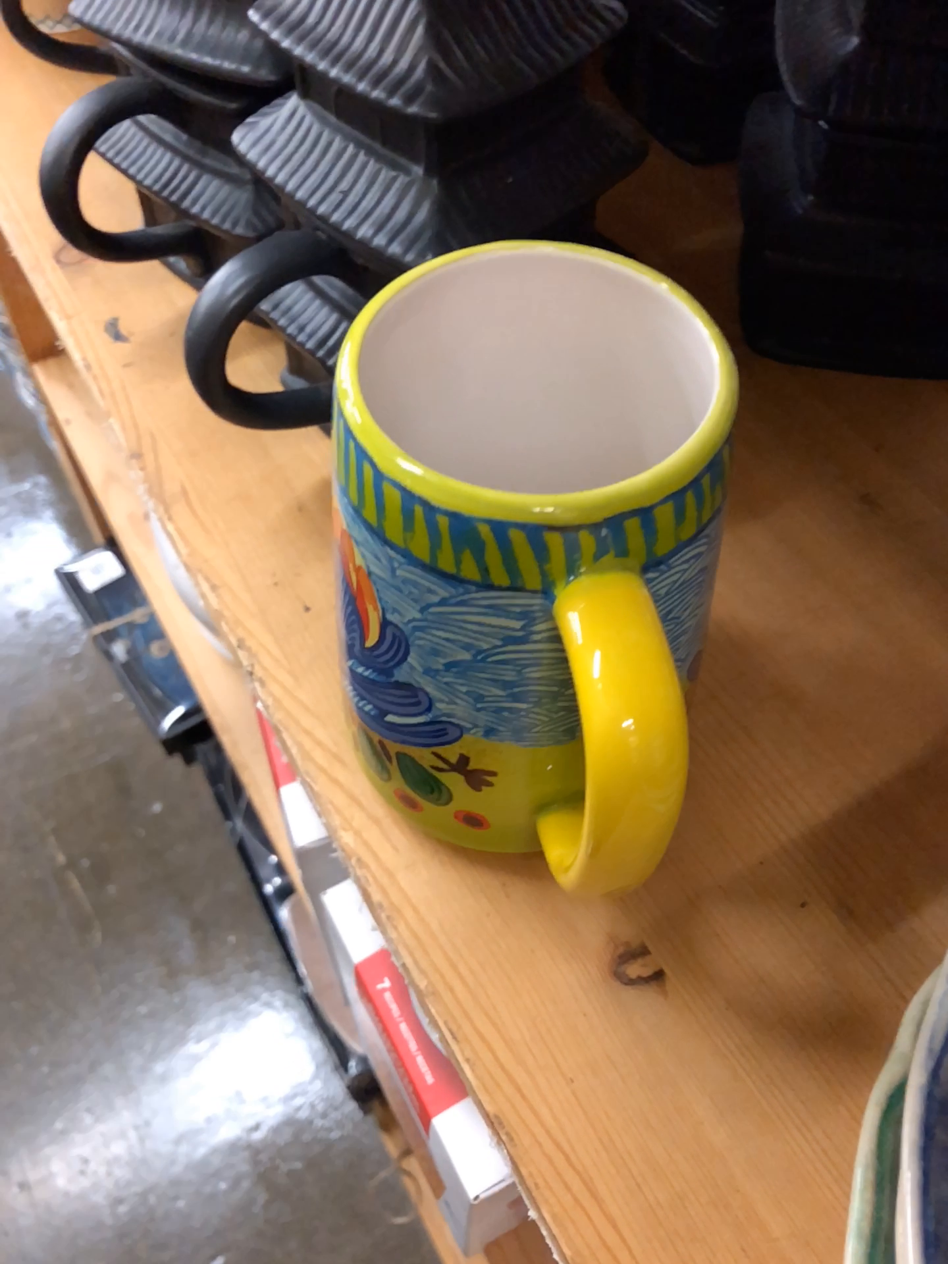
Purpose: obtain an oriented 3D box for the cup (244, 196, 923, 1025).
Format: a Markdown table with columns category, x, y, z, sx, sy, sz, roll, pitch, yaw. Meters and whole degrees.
| category | x | y | z | sx | sy | sz | roll | pitch | yaw |
| --- | --- | --- | --- | --- | --- | --- | --- | --- | --- |
| cup | 0.010 | 0.001 | 0.226 | 0.086 | 0.125 | 0.113 | -9 | 55 | -6 |
